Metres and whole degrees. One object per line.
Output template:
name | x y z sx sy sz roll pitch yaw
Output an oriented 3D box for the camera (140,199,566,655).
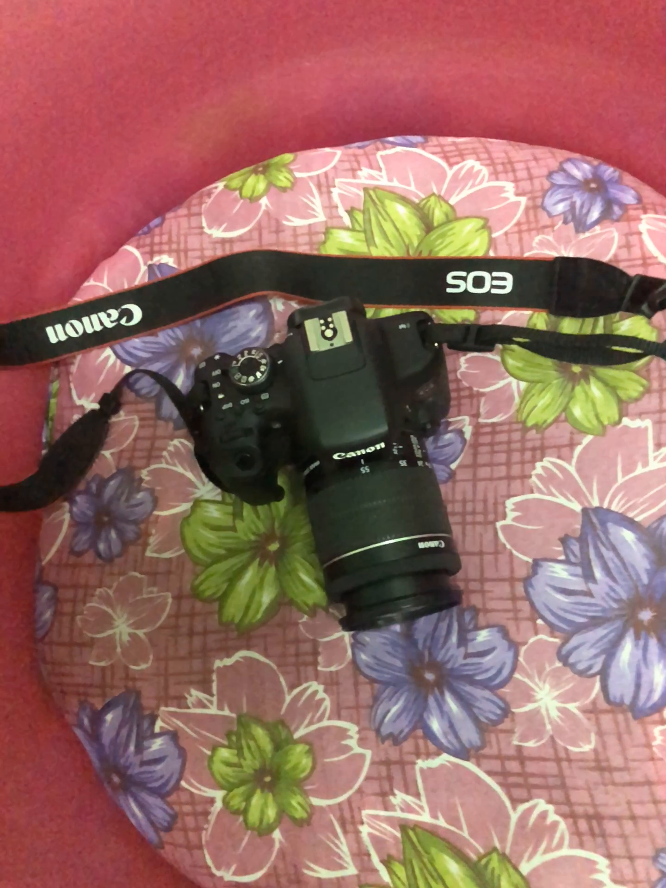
camera | 0.006 0.000 0.342 0.140 0.100 0.160 -14 74 4
